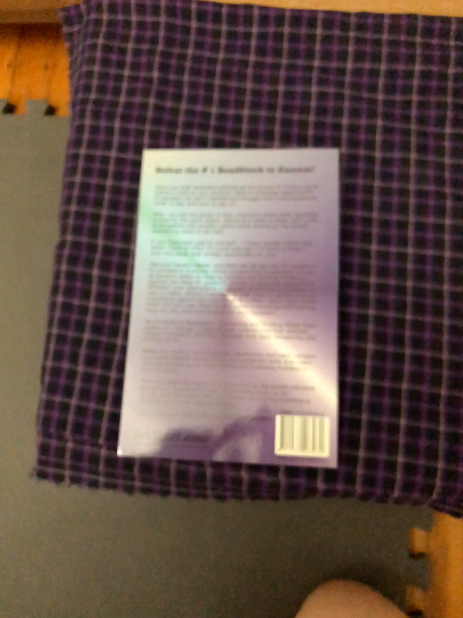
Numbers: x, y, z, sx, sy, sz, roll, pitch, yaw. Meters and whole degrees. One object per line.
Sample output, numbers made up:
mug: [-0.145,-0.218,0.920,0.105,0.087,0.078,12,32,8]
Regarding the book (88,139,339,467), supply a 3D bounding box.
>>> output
book: [-0.008,-0.010,0.361,0.160,0.020,0.220,1,79,6]
